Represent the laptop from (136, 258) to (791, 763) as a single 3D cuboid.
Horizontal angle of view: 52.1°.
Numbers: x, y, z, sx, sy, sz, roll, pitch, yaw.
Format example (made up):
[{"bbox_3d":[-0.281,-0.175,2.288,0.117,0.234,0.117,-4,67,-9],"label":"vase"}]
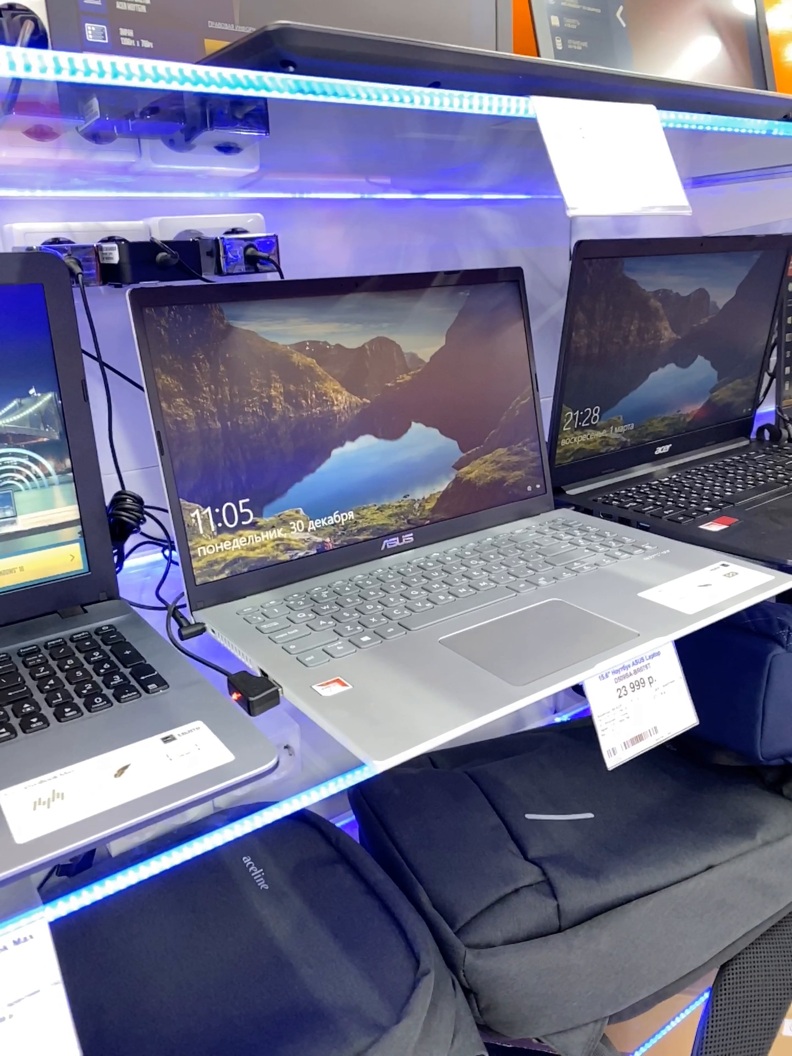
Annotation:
[{"bbox_3d":[0.055,-0.061,0.561,0.360,0.216,0.286,-14,21,-32],"label":"laptop"}]
